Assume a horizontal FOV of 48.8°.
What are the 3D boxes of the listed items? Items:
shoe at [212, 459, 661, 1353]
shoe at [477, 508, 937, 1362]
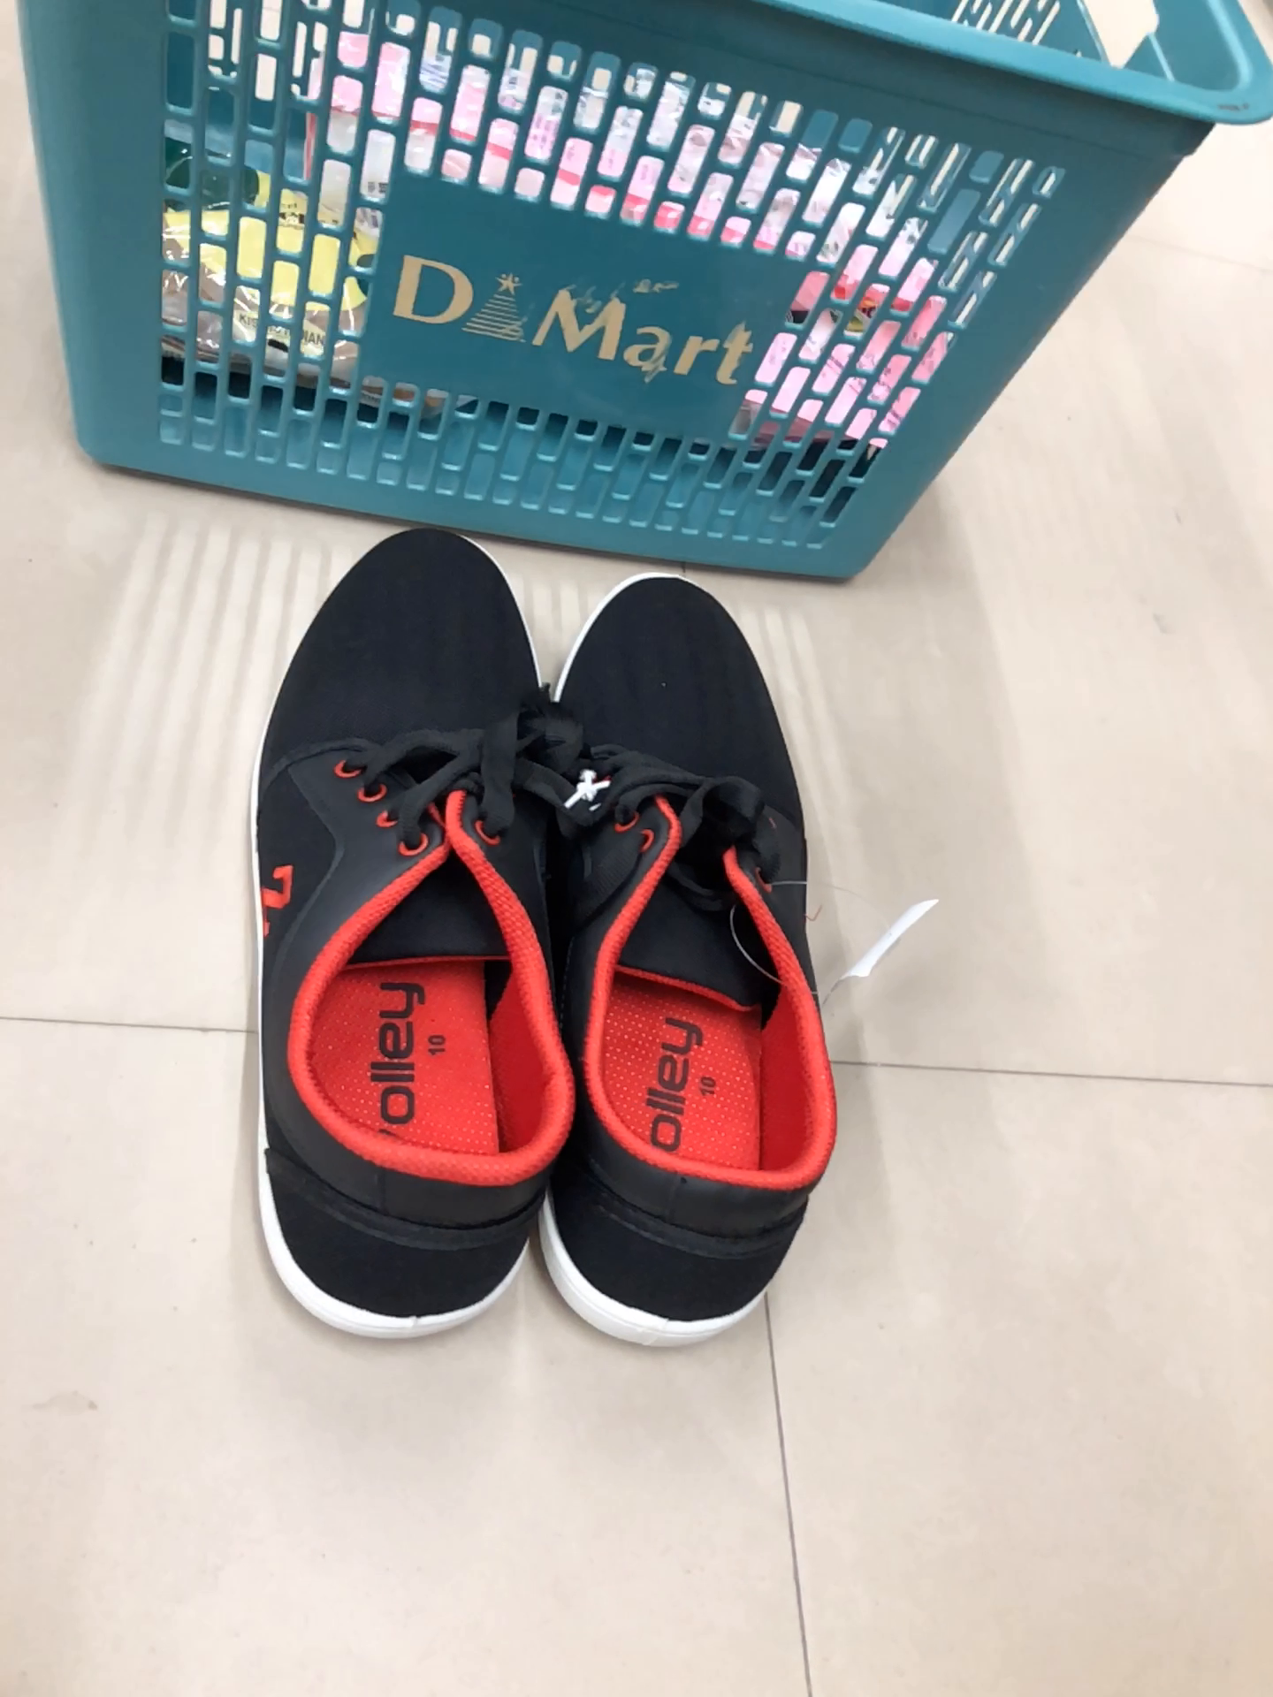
[{"bbox_3d":[-0.073,0.013,0.452,0.105,0.103,0.261,4,57,-18],"label":"shoe"},{"bbox_3d":[0.018,0.024,0.480,0.105,0.103,0.261,11,56,-14],"label":"shoe"}]
